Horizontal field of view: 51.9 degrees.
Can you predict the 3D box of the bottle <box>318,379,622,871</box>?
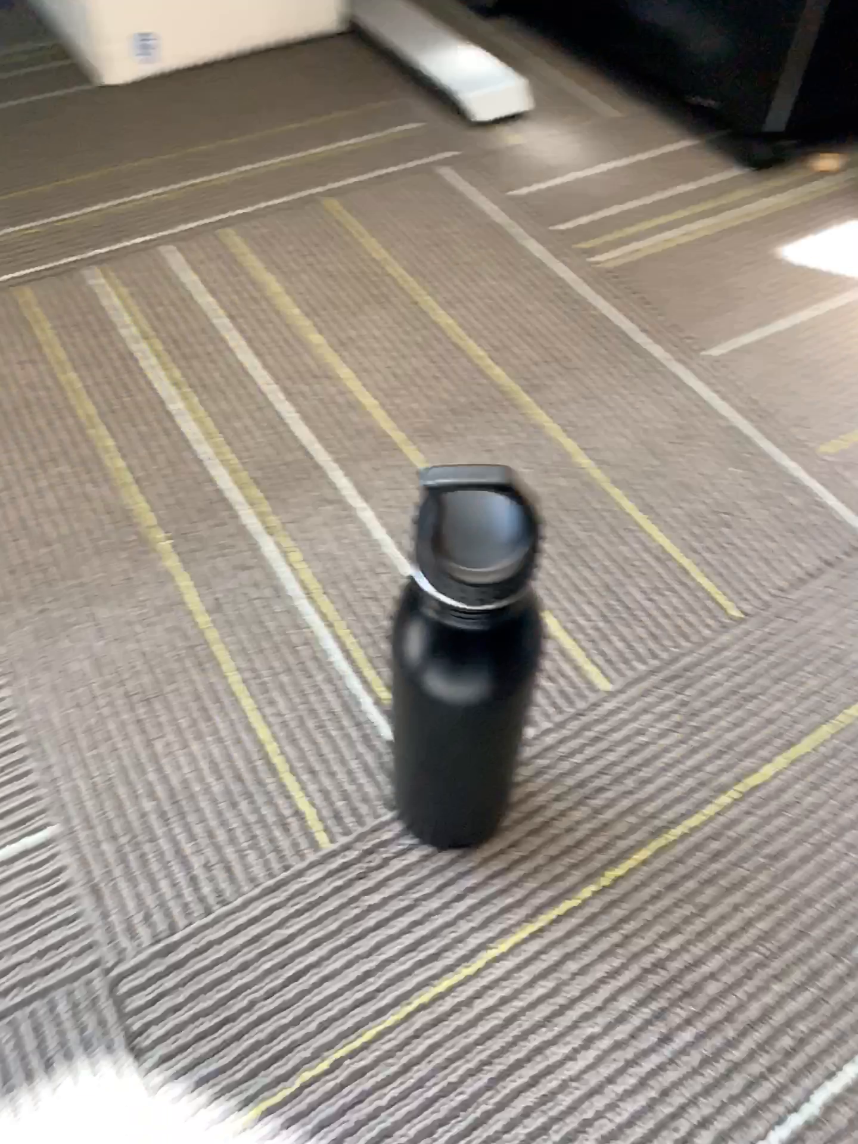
[{"bbox_3d":[0.015,0.043,0.406,0.090,0.249,0.080,13,53,8],"label":"bottle"}]
